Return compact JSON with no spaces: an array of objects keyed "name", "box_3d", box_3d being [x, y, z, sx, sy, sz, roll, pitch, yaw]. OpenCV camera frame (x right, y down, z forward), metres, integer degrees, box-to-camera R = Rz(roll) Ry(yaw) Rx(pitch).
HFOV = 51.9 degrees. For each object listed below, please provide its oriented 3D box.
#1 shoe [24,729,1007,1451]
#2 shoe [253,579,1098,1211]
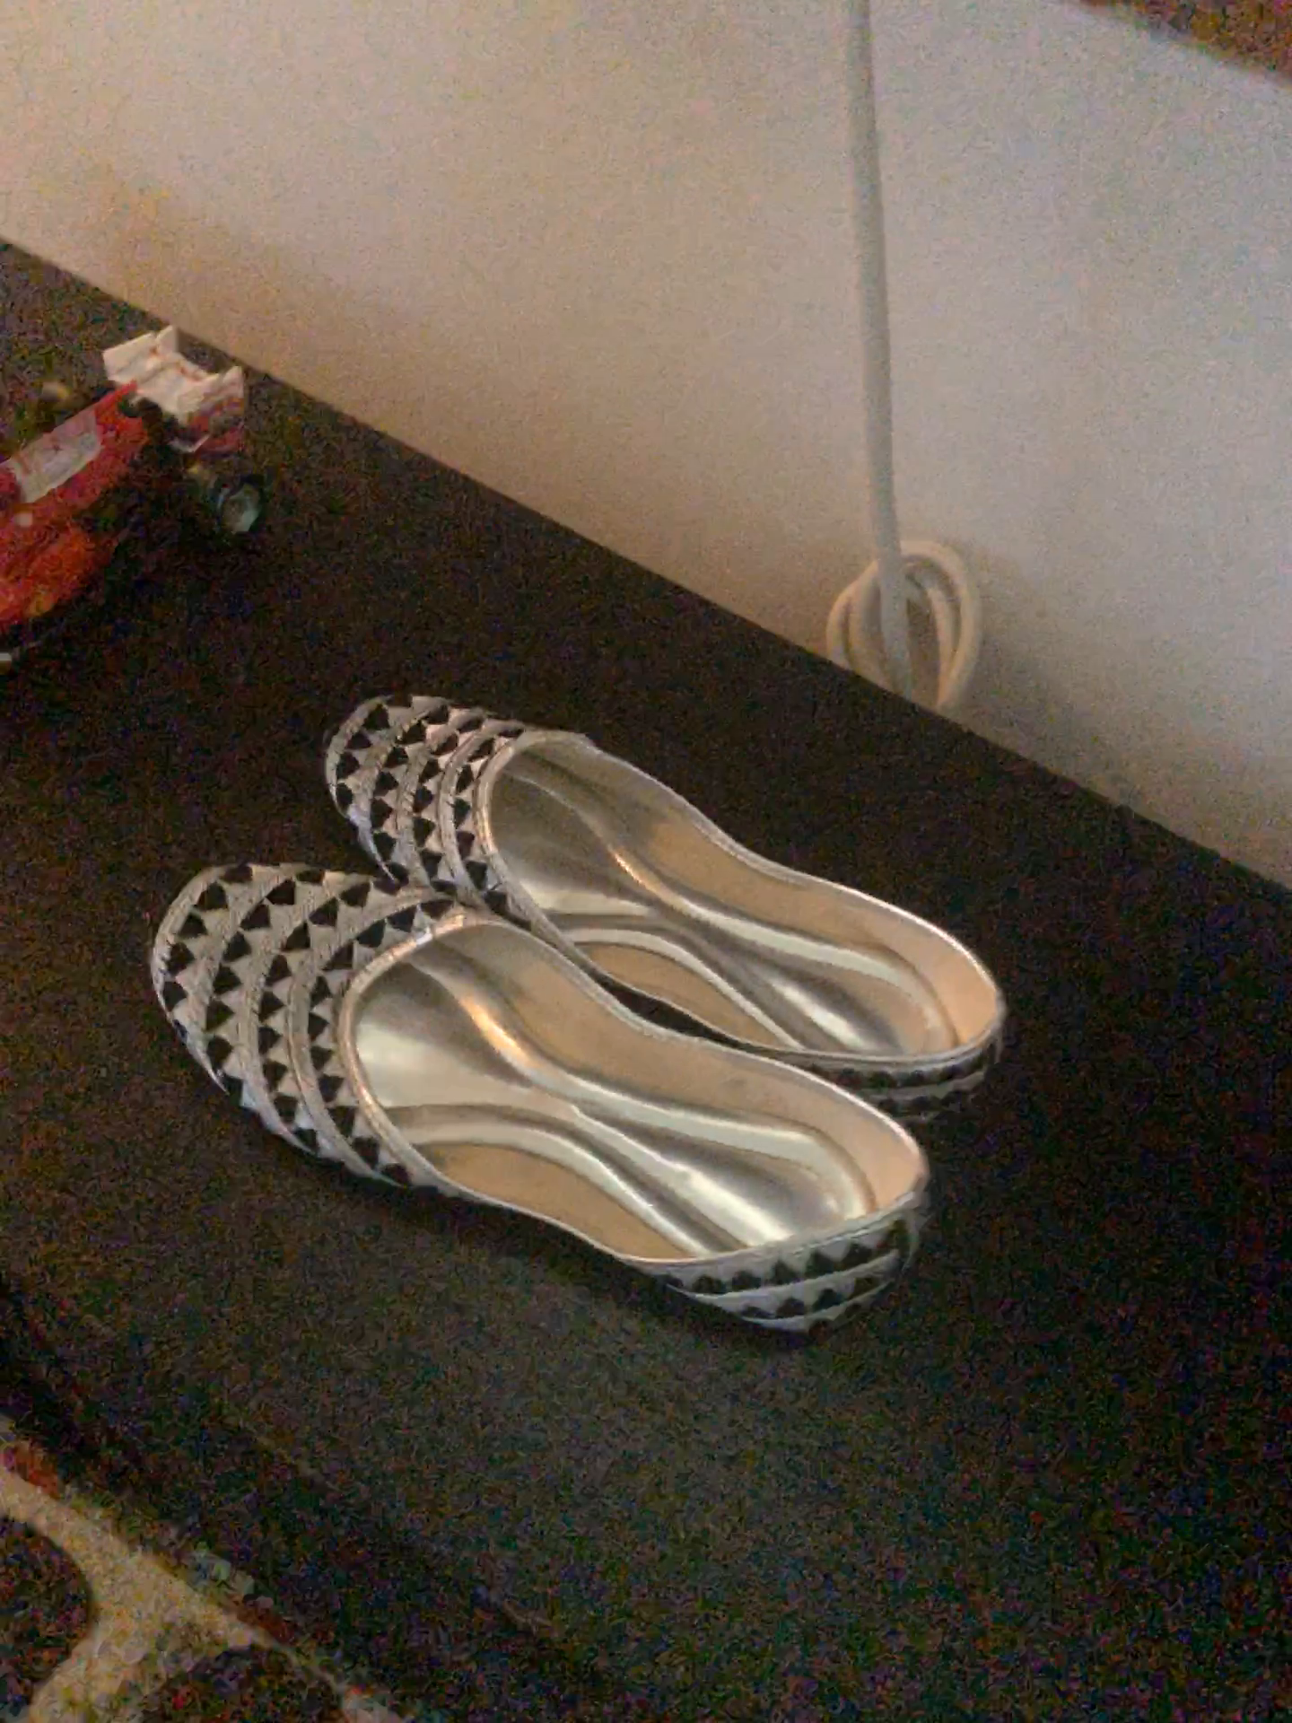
[{"name":"shoe","box_3d":[-0.039,0.066,0.412,0.270,0.069,0.096,24,52,7]},{"name":"shoe","box_3d":[0.007,0.007,0.469,0.270,0.069,0.096,26,53,8]}]
